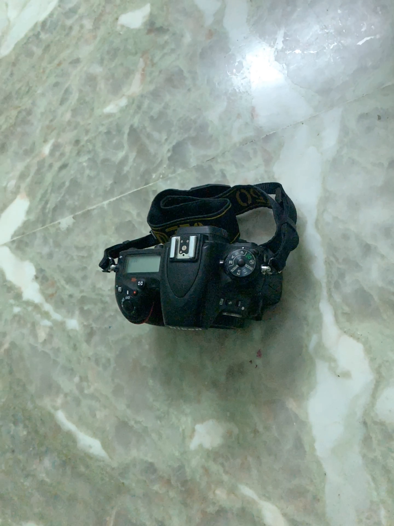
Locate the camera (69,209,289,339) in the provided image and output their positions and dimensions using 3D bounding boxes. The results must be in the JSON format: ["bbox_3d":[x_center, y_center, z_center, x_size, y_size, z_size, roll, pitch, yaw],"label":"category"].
[{"bbox_3d":[-0.009,0.015,0.343,0.150,0.100,0.080,-1,76,24],"label":"camera"}]
